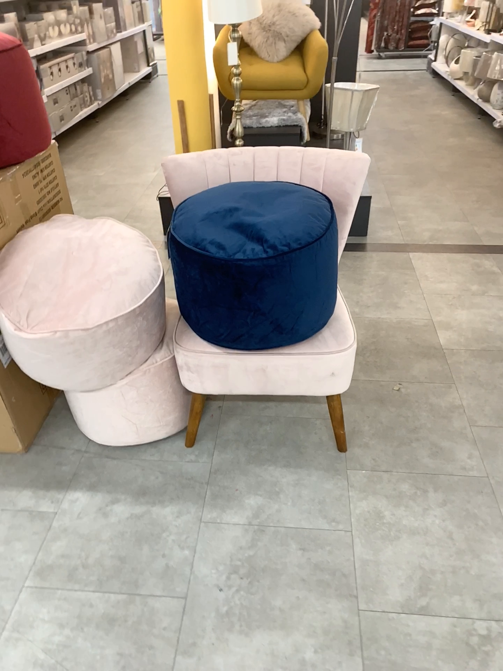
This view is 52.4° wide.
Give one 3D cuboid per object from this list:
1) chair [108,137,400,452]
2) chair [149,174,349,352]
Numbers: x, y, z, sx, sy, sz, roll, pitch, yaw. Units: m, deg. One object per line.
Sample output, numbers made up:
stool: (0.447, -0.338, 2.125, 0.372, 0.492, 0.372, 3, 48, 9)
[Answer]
chair: (0.034, -0.164, 1.724, 0.690, 0.772, 0.737, 1, 35, 4)
chair: (0.011, -0.241, 1.563, 0.494, 0.340, 0.498, 1, 35, 4)
